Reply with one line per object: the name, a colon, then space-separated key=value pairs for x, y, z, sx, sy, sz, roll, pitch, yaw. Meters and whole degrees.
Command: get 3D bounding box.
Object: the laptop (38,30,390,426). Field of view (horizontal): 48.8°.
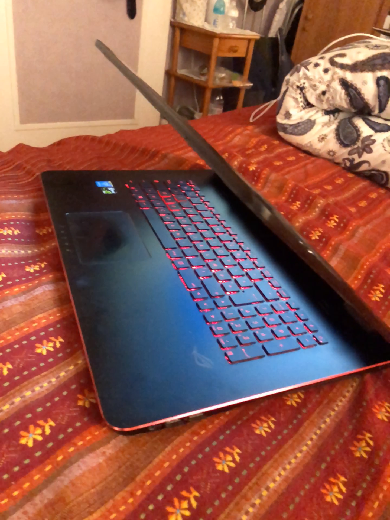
laptop: x=0.005 y=-0.086 z=0.440 sx=0.268 sy=0.168 sz=0.400 roll=-5 pitch=37 yaw=-23
